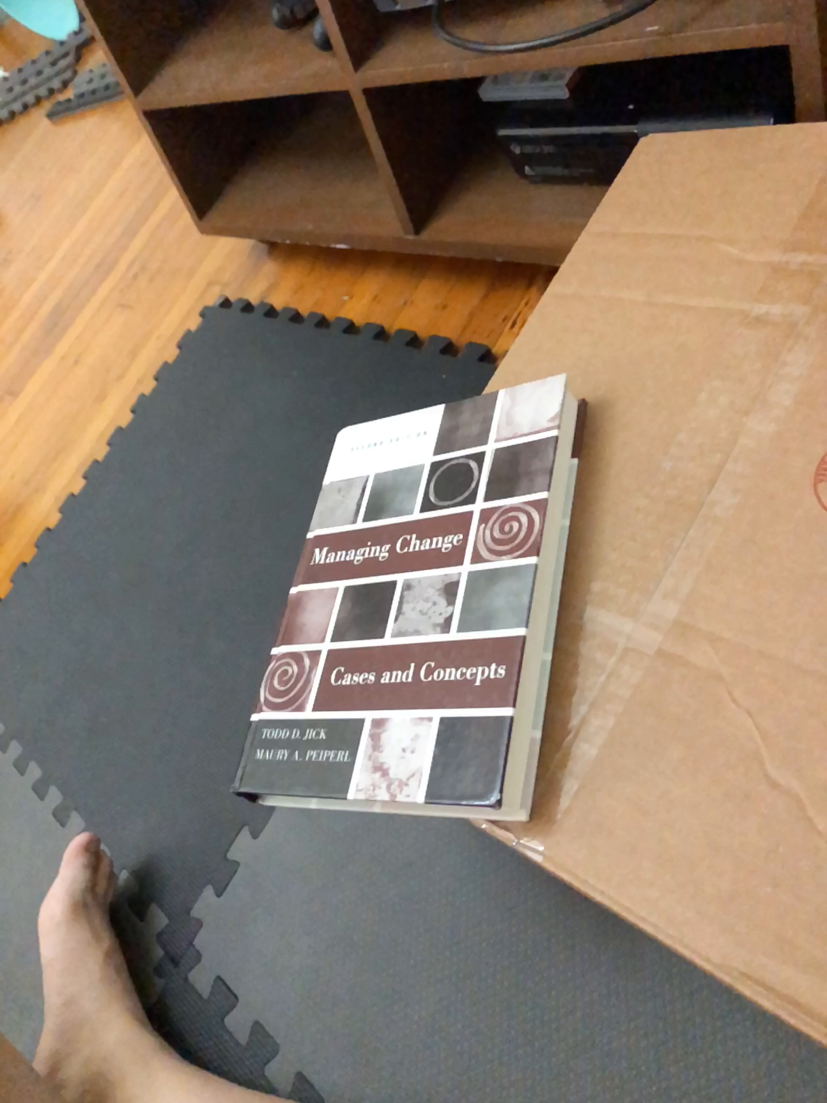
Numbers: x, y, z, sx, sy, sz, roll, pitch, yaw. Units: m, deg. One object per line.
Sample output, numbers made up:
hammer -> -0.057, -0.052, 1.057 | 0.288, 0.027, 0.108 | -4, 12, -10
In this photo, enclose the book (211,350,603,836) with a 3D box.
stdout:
book -> 0.000, 0.017, 0.494 | 0.180, 0.030, 0.251 | -7, 57, 33
